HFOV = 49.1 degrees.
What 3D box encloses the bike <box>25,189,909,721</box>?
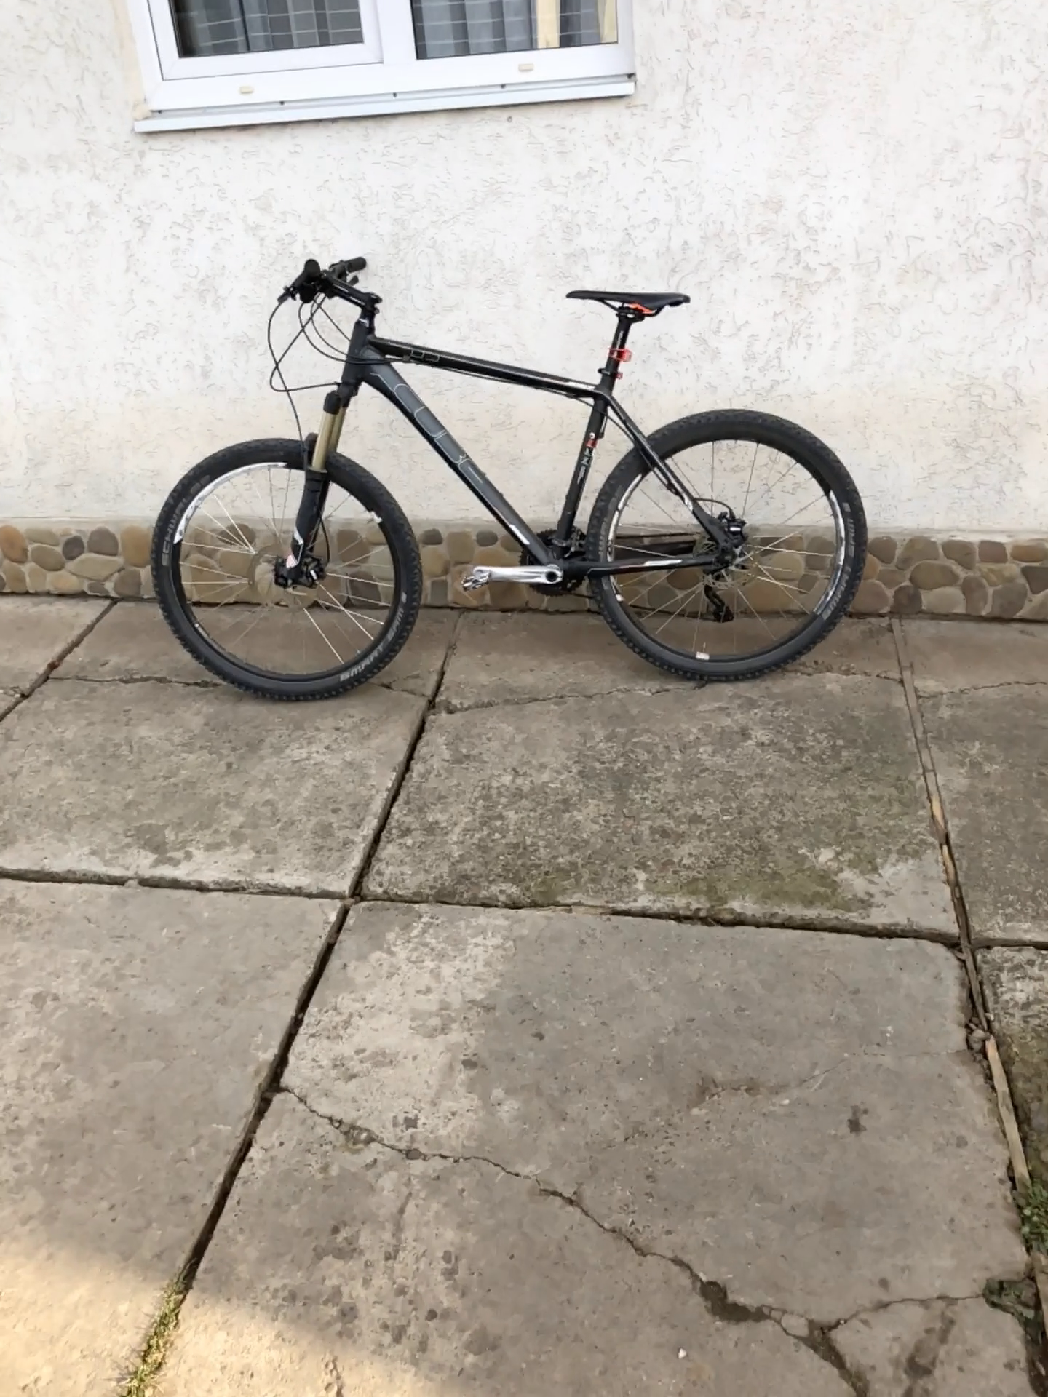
[{"bbox_3d":[-0.072,-0.596,2.852,1.772,1.090,0.691,-1,30,5],"label":"bike"}]
